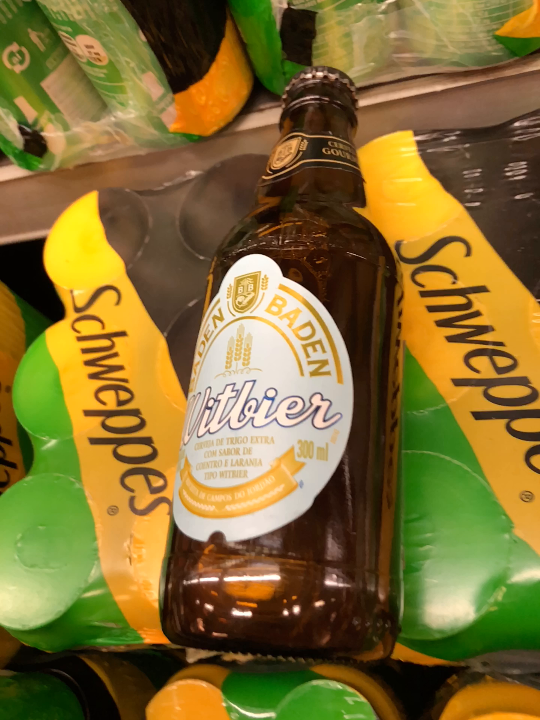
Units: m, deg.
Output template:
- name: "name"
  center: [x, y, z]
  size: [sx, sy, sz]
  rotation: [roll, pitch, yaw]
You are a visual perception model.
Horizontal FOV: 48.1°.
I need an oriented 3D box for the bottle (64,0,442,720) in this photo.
- name: "bottle"
  center: [0.010, -0.023, 0.172]
  size: [0.070, 0.060, 0.201]
  rotation: [-2, 69, 19]
